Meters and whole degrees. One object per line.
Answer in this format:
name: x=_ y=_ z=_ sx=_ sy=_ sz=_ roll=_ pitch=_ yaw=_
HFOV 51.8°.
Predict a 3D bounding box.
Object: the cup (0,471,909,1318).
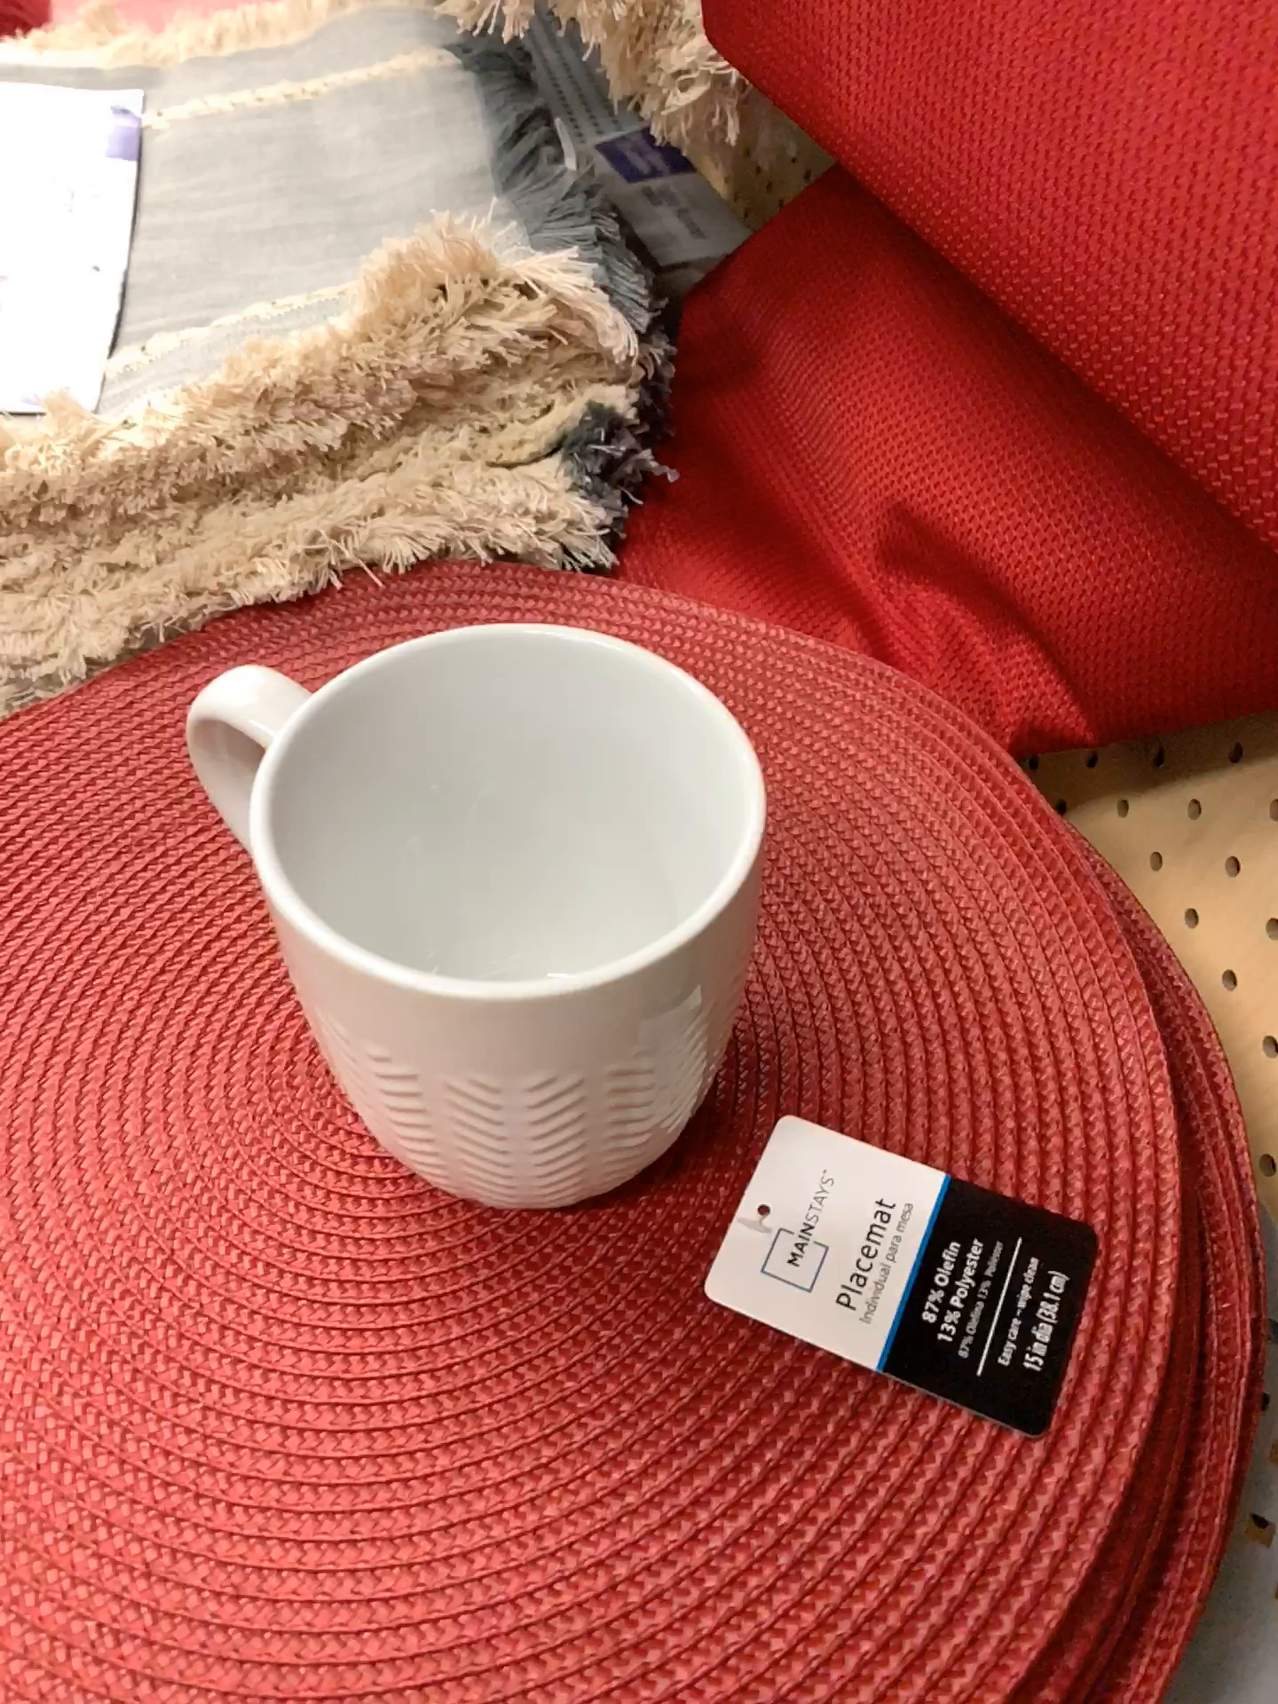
cup: x=-0.038 y=-0.001 z=0.278 sx=0.140 sy=0.090 sz=0.100 roll=27 pitch=41 yaw=20
